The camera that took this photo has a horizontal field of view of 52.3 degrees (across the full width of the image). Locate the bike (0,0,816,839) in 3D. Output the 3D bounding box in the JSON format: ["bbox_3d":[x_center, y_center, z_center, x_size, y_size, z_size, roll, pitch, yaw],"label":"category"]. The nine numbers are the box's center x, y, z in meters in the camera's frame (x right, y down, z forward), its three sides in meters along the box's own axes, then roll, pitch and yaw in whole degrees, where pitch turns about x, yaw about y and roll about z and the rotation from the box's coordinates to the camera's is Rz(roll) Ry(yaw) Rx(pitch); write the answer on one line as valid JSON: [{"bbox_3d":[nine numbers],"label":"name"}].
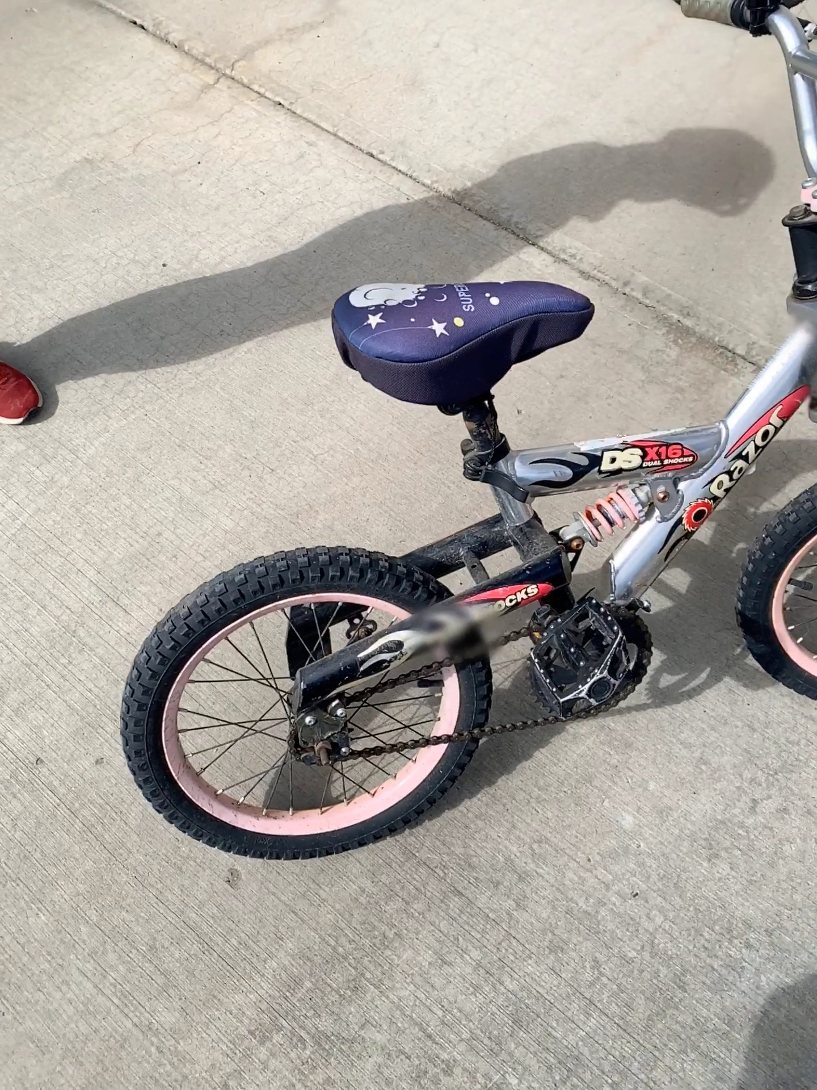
[{"bbox_3d":[0.239,-0.128,0.843,1.122,0.692,0.359,-12,57,-13],"label":"bike"}]
